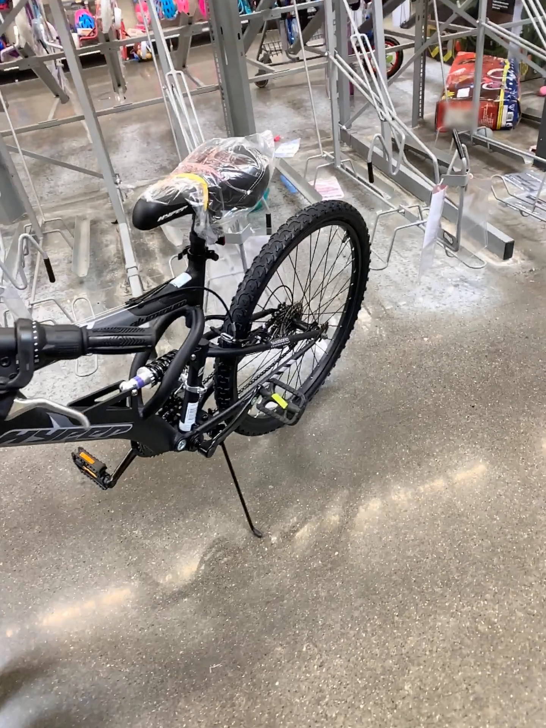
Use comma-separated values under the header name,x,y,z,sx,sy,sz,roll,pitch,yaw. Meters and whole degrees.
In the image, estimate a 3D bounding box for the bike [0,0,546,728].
name,x,y,z,sx,sy,sz,roll,pitch,yaw
bike,-0.042,0.103,1.075,0.691,1.089,1.686,13,46,26
